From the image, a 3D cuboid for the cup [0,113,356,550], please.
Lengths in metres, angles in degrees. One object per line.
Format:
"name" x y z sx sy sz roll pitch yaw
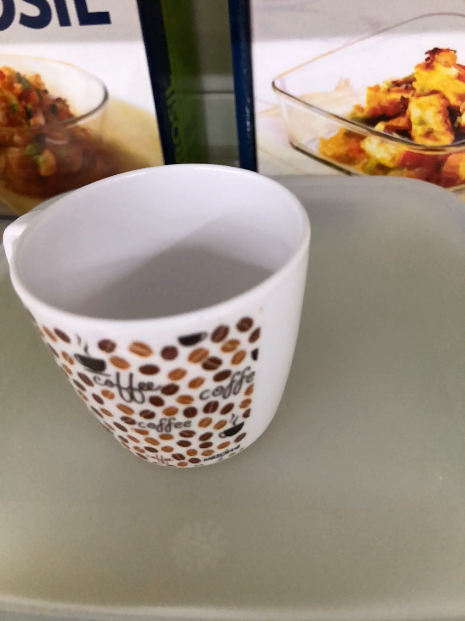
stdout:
"cup" -0.023 -0.004 0.115 0.080 0.050 0.060 15 44 22
